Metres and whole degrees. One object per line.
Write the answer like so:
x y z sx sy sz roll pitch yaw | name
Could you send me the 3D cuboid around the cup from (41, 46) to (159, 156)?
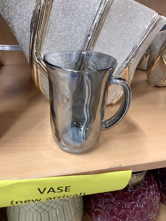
0.010 -0.013 0.213 0.110 0.110 0.070 -1 32 -9 | cup
